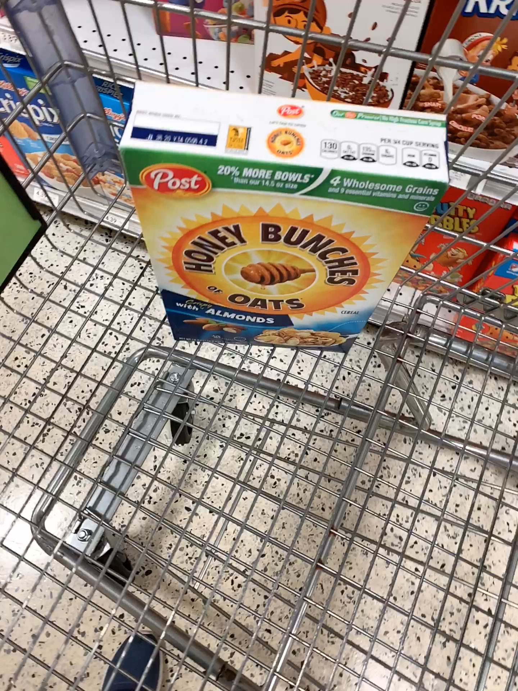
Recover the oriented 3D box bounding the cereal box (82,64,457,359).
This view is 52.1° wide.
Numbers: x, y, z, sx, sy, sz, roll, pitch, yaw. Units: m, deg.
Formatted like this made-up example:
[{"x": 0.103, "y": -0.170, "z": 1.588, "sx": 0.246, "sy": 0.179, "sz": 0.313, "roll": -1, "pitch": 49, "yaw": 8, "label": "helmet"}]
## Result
[{"x": 0.008, "y": -0.077, "z": 0.450, "sx": 0.210, "sy": 0.308, "sz": 0.060, "roll": 7, "pitch": 71, "yaw": 2, "label": "cereal box"}]
